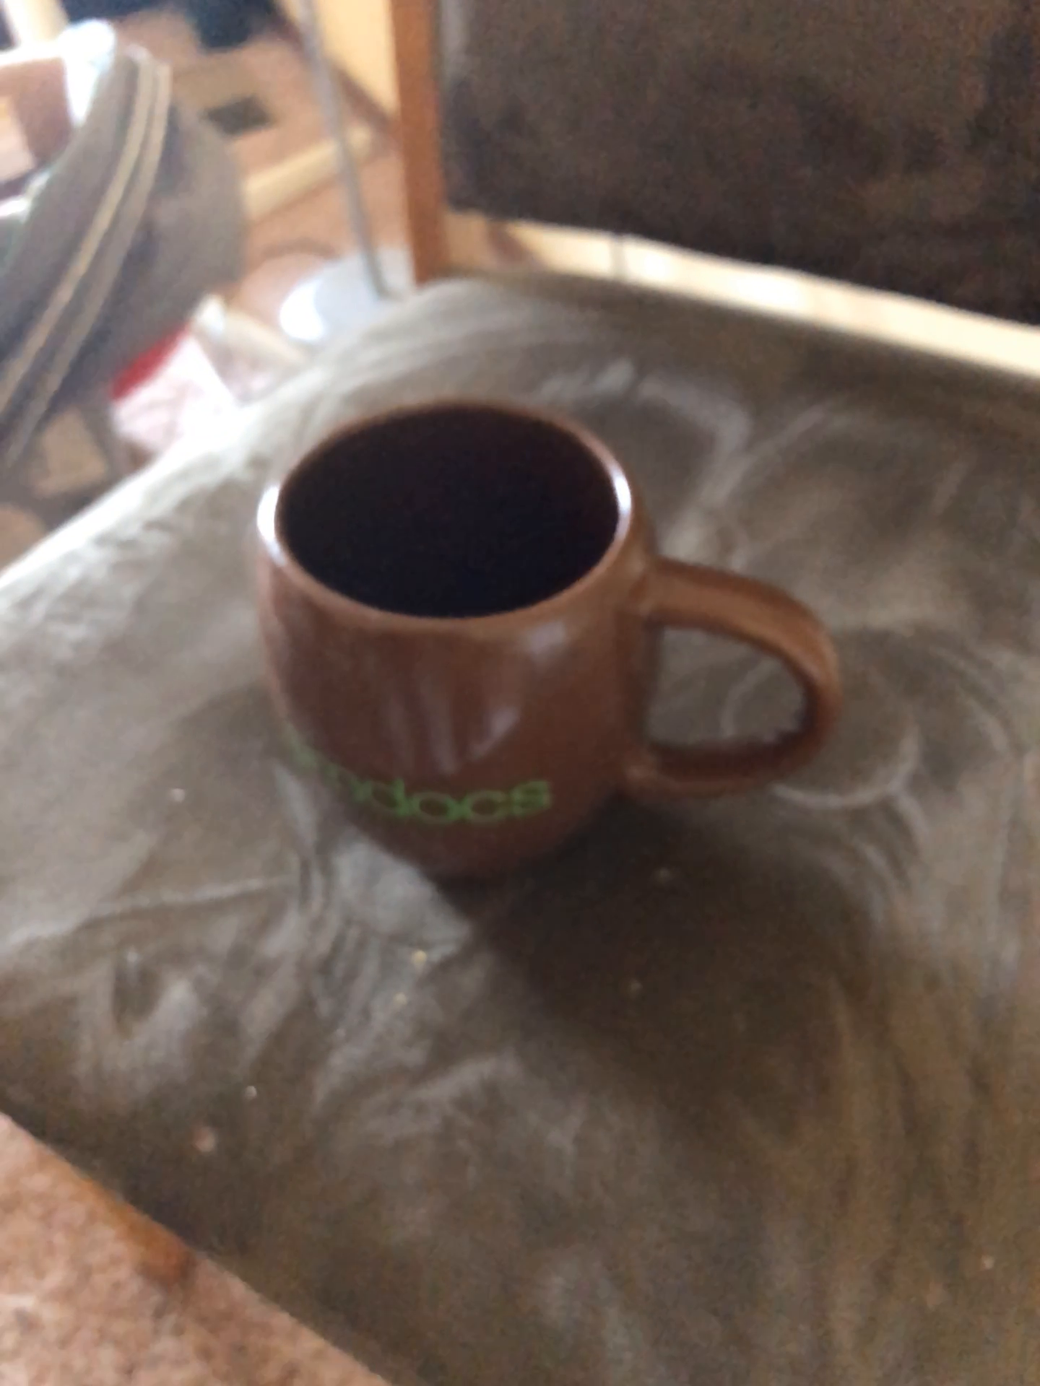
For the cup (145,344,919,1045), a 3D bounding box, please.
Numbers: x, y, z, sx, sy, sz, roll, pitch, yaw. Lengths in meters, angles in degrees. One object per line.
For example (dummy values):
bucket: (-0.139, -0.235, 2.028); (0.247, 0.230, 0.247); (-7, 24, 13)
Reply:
cup: (0.005, -0.001, 0.289); (0.140, 0.100, 0.090); (18, 52, 13)
